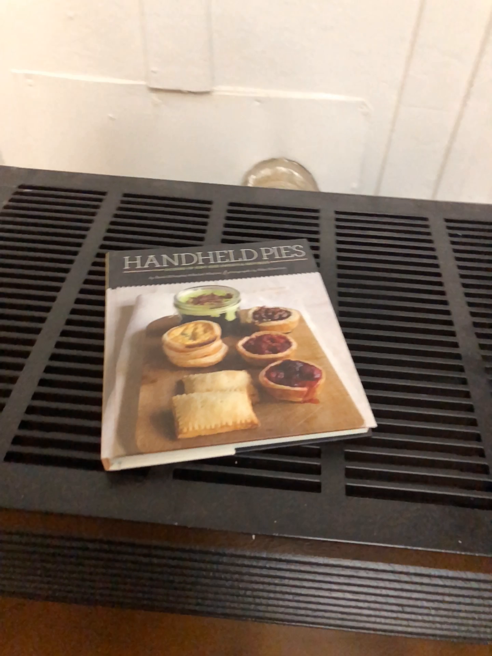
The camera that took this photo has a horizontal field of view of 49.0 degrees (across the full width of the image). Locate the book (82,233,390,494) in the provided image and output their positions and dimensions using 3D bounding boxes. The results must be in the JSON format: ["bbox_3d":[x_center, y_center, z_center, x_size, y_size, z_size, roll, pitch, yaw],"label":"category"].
[{"bbox_3d":[-0.021,0.008,0.433,0.200,0.020,0.231,-6,46,-7],"label":"book"}]
